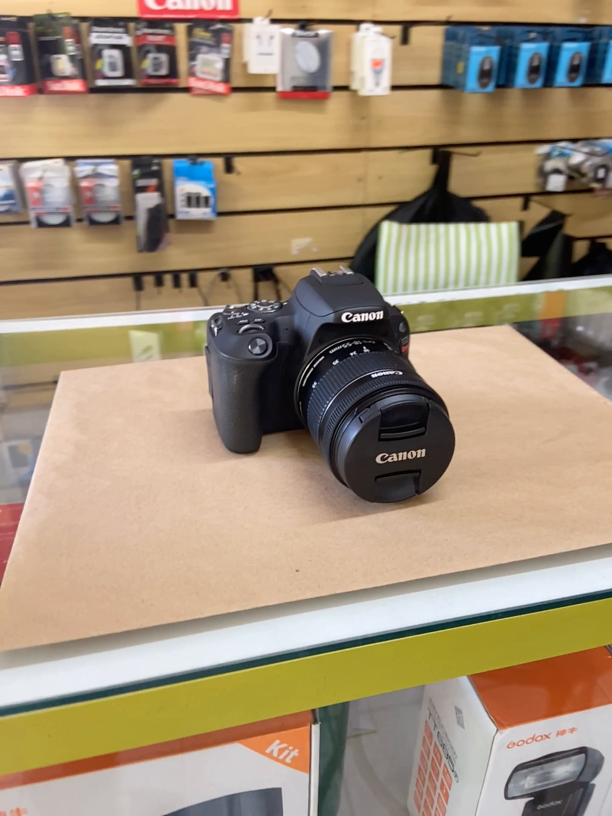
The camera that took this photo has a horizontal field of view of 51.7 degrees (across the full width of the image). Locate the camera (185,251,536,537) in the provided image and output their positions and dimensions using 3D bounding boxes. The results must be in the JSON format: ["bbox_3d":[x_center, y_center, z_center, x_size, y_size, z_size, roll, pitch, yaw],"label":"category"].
[{"bbox_3d":[0.019,-0.020,0.345,0.140,0.089,0.131,-10,29,-16],"label":"camera"}]
